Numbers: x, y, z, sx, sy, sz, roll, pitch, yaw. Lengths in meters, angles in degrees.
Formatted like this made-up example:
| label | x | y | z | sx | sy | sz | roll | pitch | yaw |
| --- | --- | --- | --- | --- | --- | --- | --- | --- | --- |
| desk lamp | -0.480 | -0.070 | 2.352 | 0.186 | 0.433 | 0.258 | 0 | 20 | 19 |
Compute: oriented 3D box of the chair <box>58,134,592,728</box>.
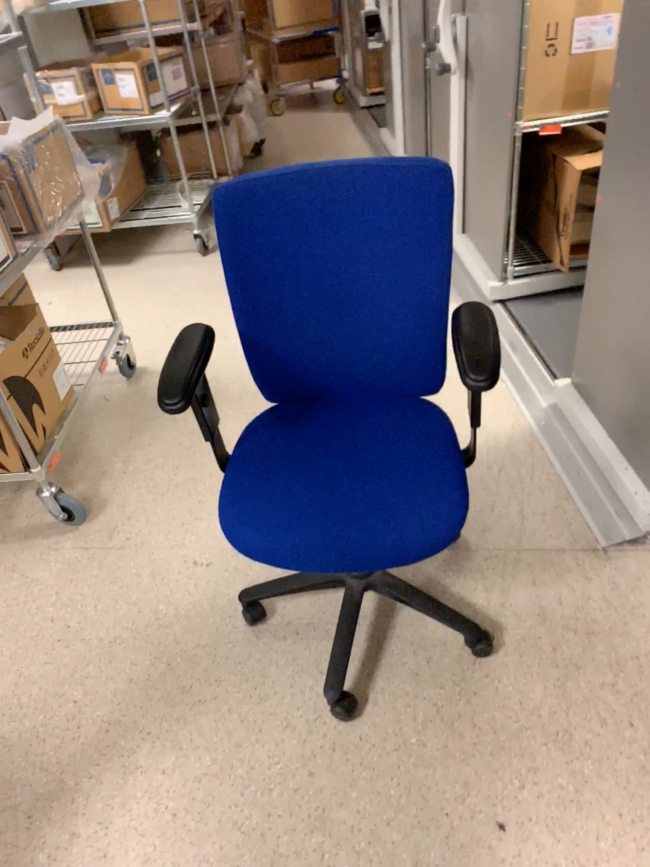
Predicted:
| label | x | y | z | sx | sy | sz | roll | pitch | yaw |
| --- | --- | --- | --- | --- | --- | --- | --- | --- | --- |
| chair | 0.043 | -0.003 | 1.411 | 0.670 | 0.931 | 0.767 | -5 | 38 | 4 |
